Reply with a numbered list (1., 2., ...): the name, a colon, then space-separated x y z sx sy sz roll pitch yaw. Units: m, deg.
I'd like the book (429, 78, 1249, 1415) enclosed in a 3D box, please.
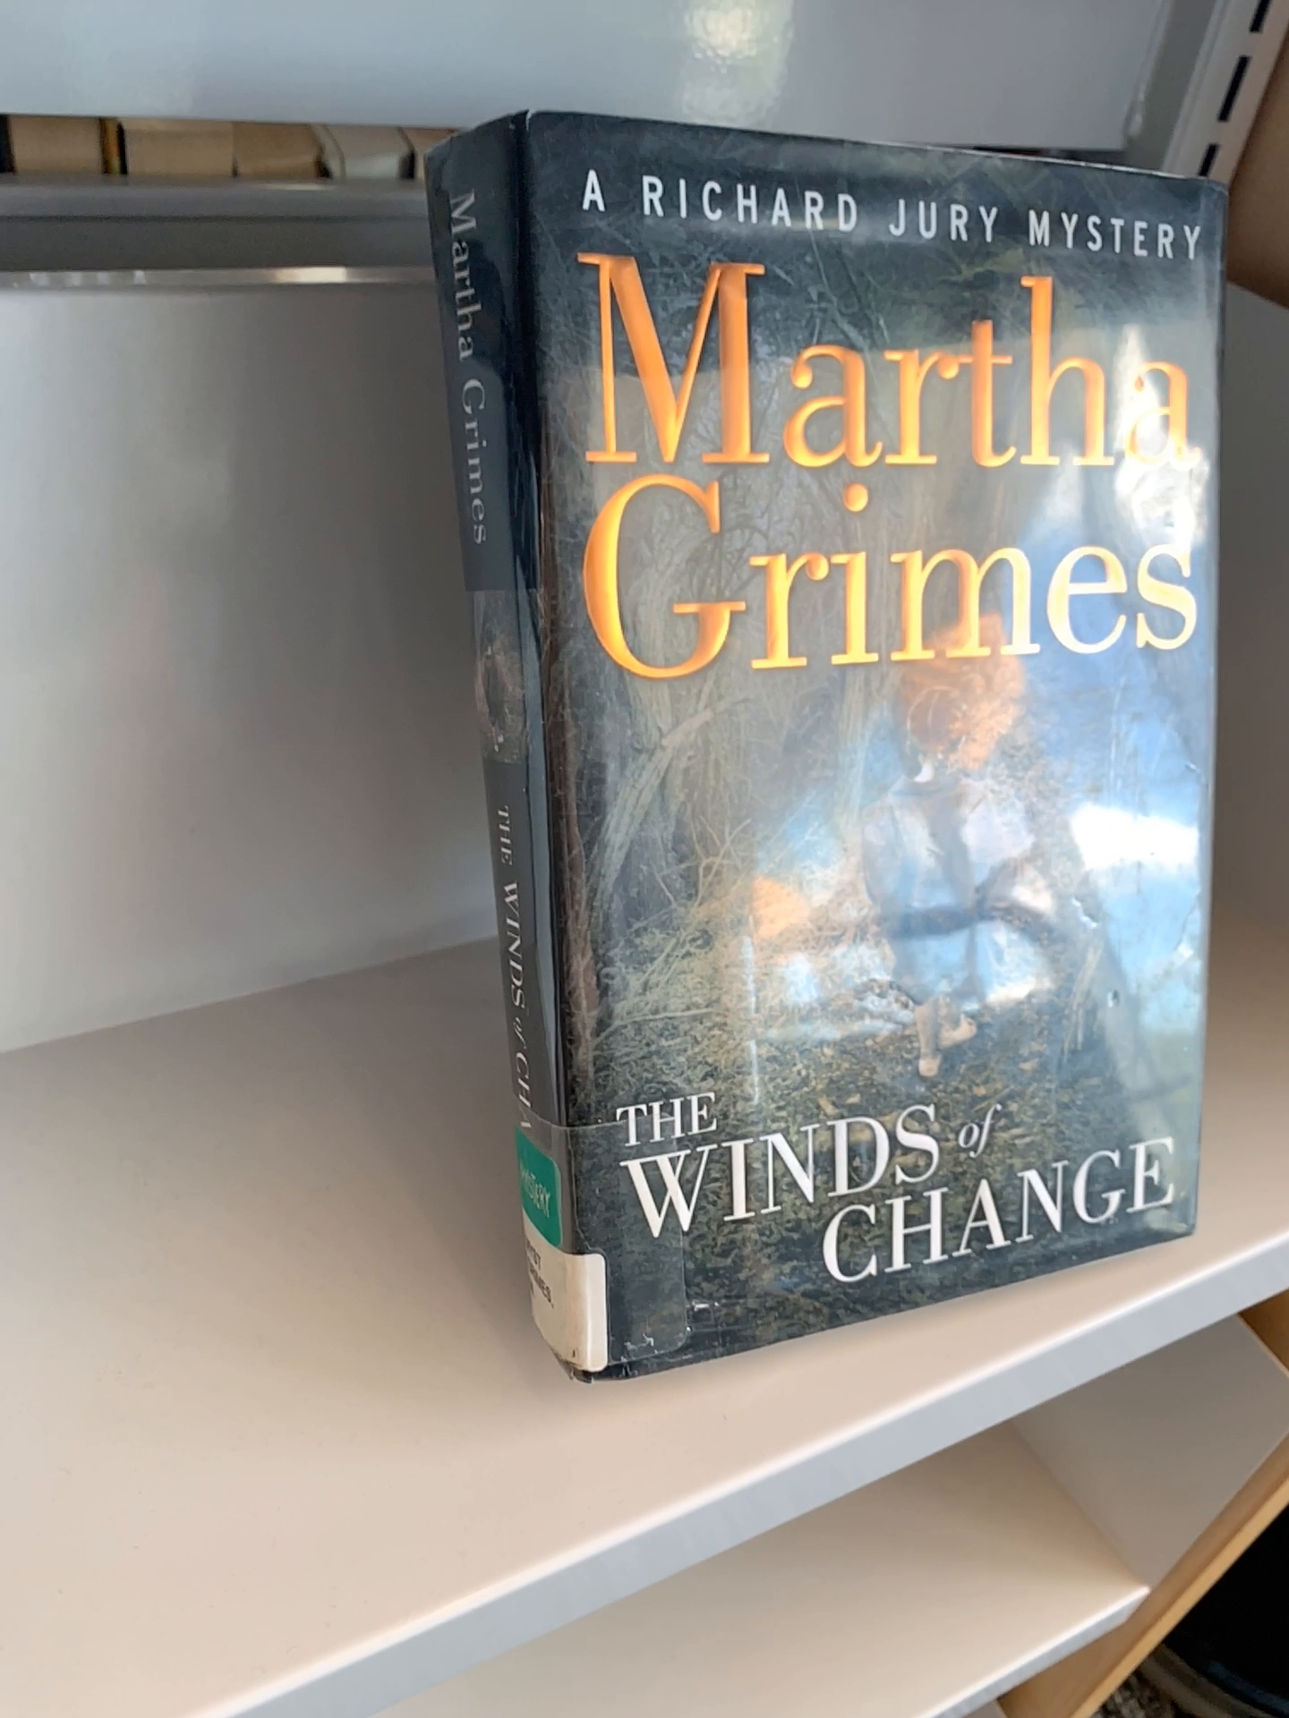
1. book: 0.047 -0.023 0.294 0.160 0.244 0.050 -7 11 -19
